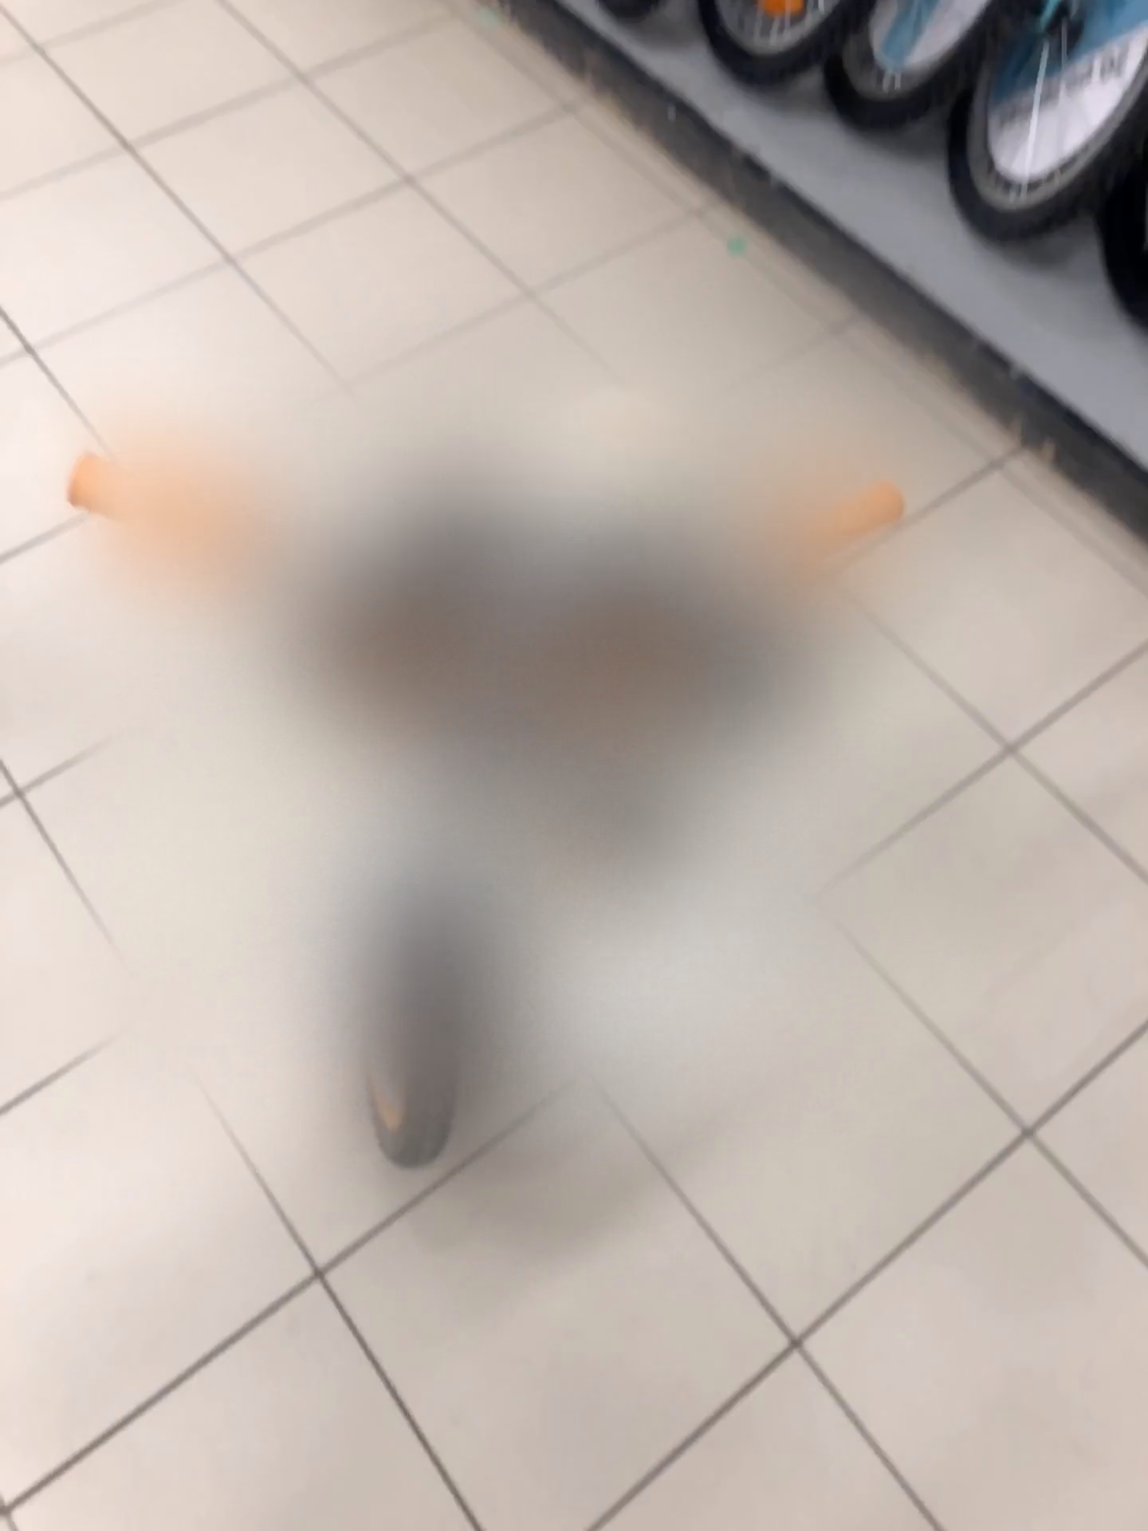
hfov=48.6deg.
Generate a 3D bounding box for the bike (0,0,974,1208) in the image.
[{"bbox_3d":[-0.046,-0.128,1.090,0.435,0.714,0.817,14,62,6],"label":"bike"}]
